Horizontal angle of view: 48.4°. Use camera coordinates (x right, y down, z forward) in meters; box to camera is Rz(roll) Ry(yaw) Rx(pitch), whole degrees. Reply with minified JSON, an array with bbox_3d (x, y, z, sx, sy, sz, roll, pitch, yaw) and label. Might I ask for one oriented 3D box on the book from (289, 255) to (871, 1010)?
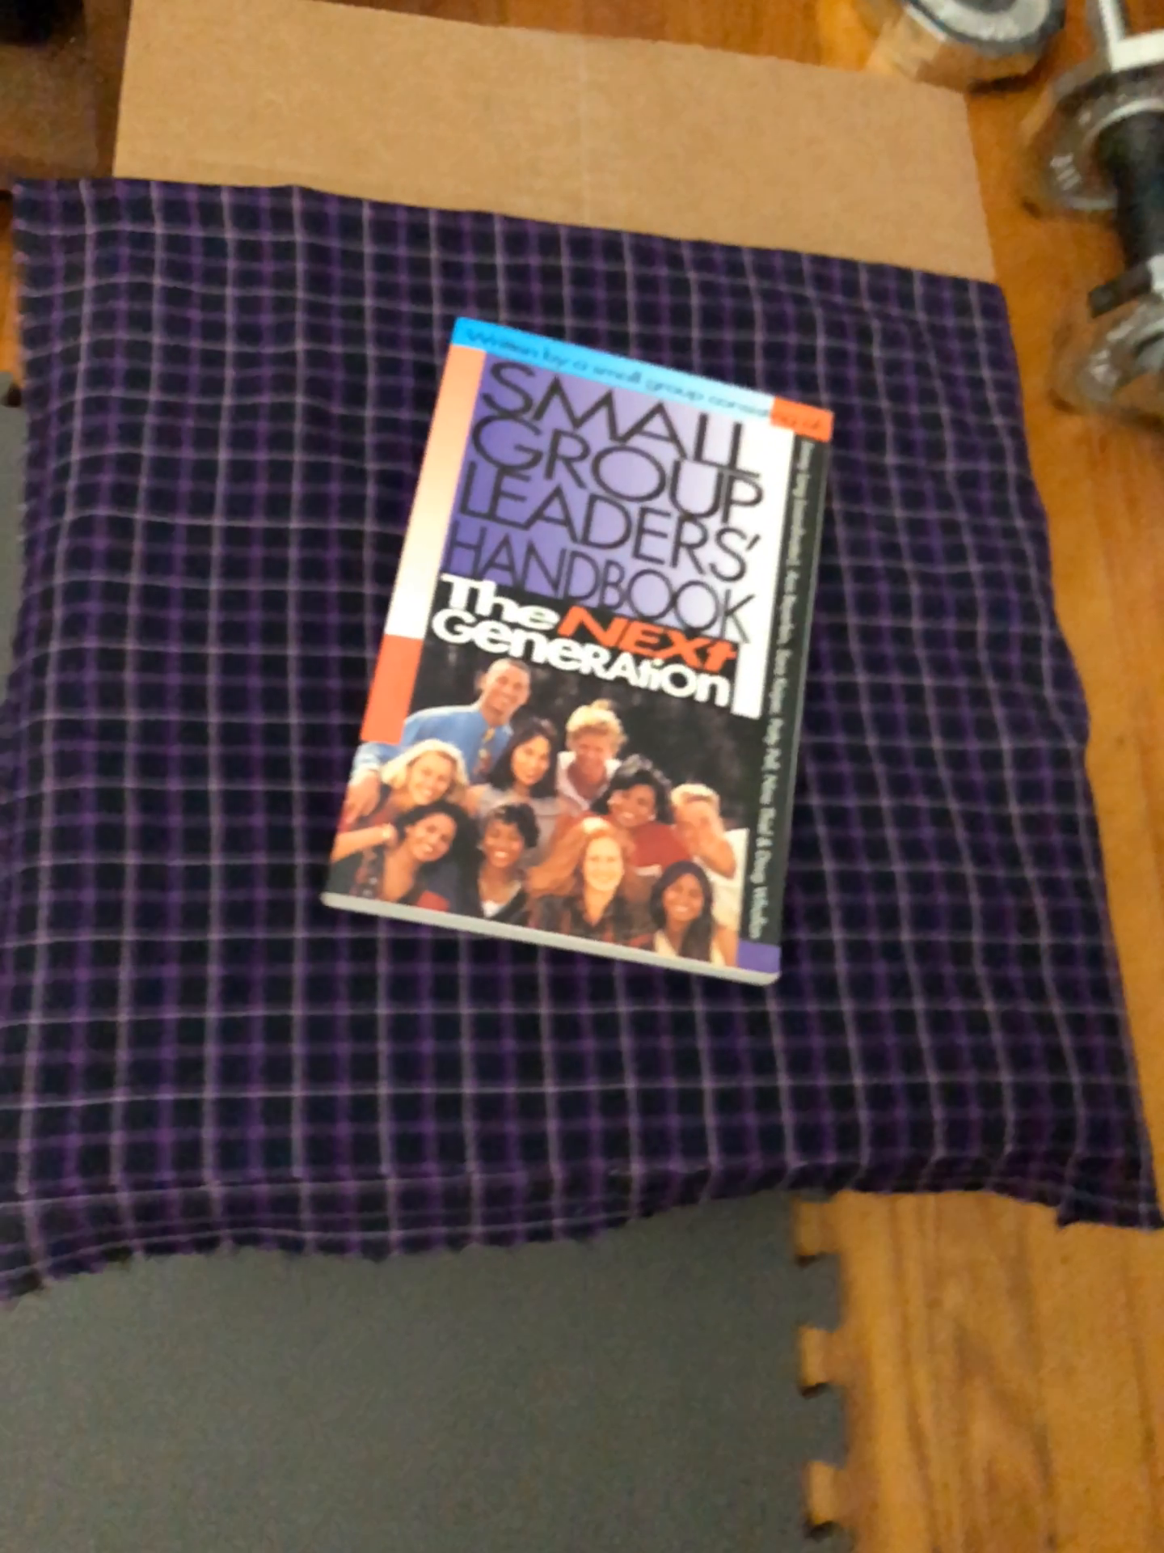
[{"bbox_3d":[0.008,-0.050,0.413,0.150,0.030,0.221,12,69,-7],"label":"book"}]
